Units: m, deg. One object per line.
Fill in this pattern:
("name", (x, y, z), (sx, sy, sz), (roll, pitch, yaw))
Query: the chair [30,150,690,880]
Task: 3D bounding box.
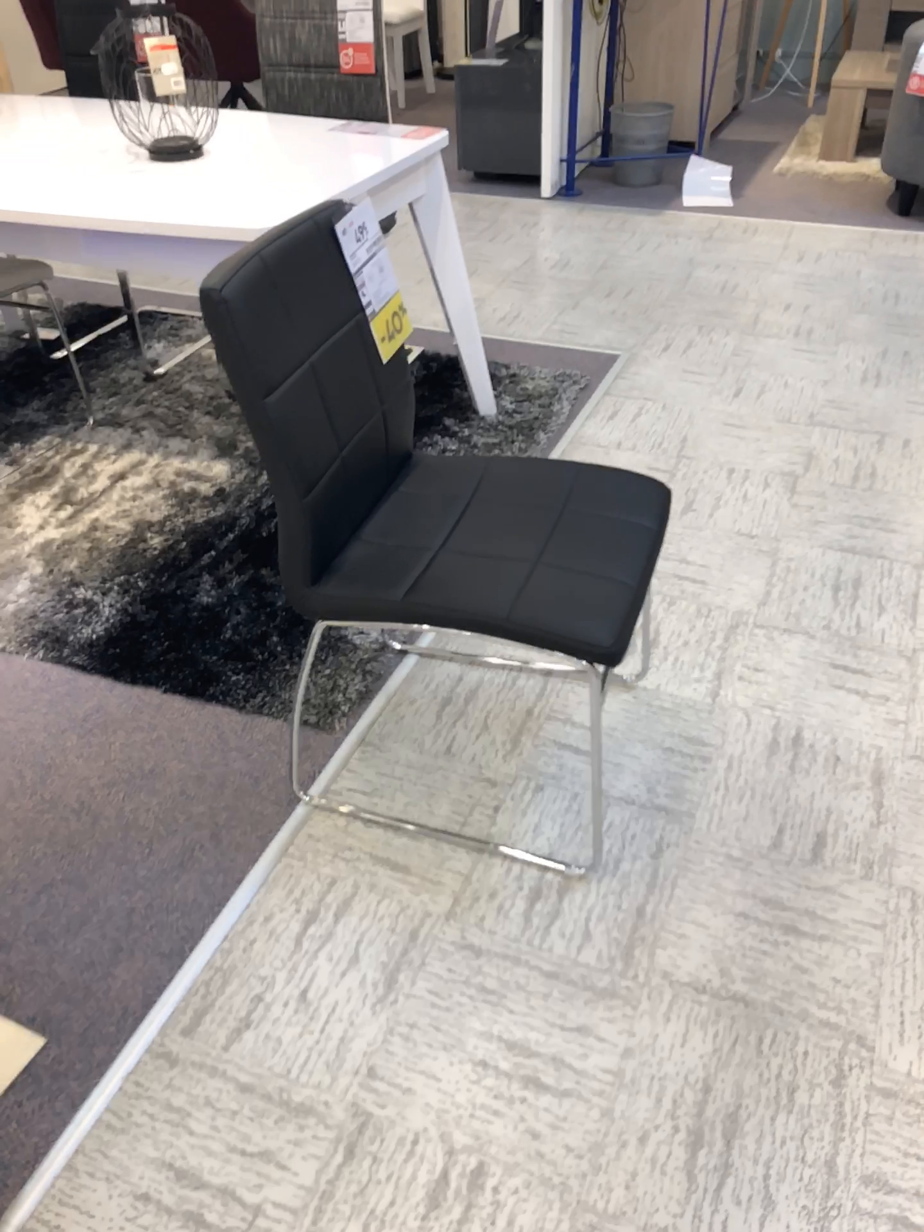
("chair", (-0.067, -0.161, 1.439), (0.630, 0.795, 0.554), (9, 39, 14))
